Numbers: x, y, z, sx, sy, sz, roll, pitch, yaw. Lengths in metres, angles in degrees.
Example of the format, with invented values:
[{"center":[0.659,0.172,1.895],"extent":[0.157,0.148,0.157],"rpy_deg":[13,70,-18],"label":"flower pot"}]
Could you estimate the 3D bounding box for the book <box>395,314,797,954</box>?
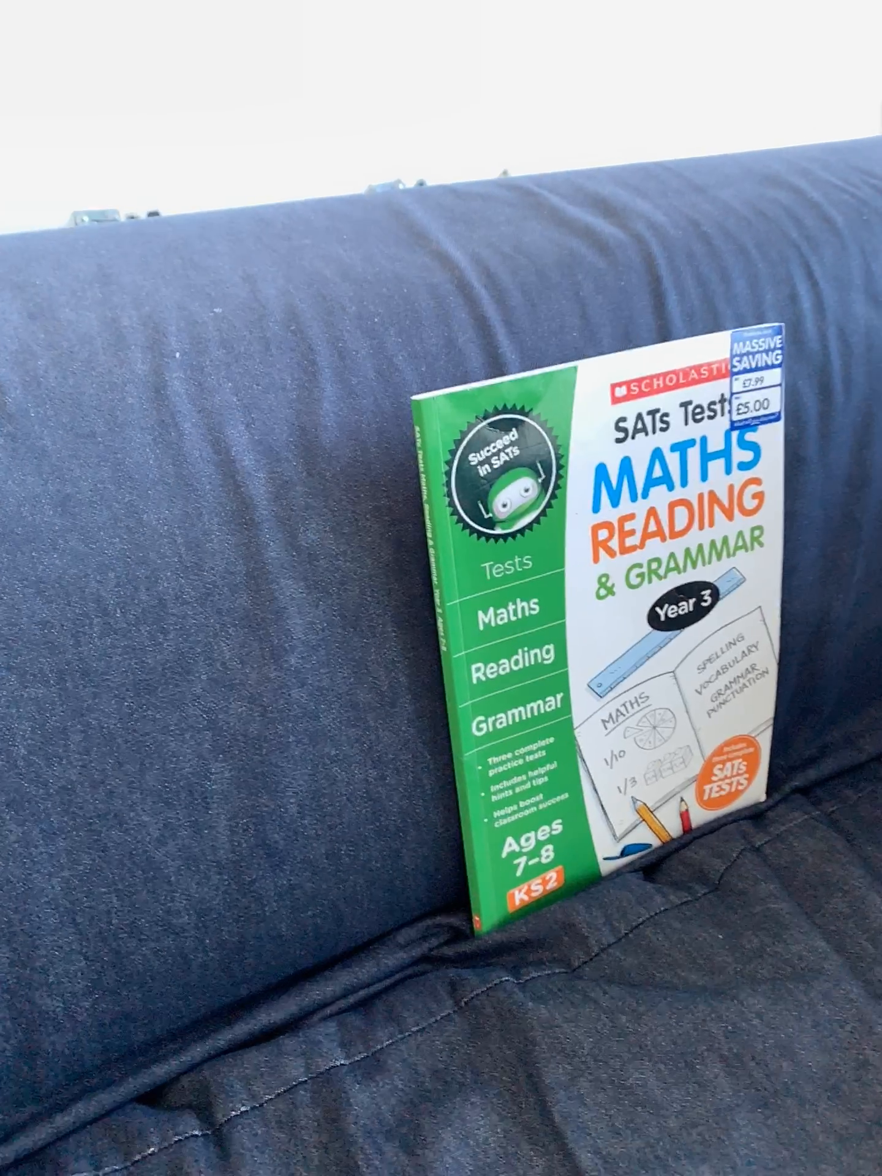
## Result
[{"center":[0.091,0.026,0.469],"extent":[0.209,0.293,0.022],"rpy_deg":[-17,26,-24],"label":"book"}]
